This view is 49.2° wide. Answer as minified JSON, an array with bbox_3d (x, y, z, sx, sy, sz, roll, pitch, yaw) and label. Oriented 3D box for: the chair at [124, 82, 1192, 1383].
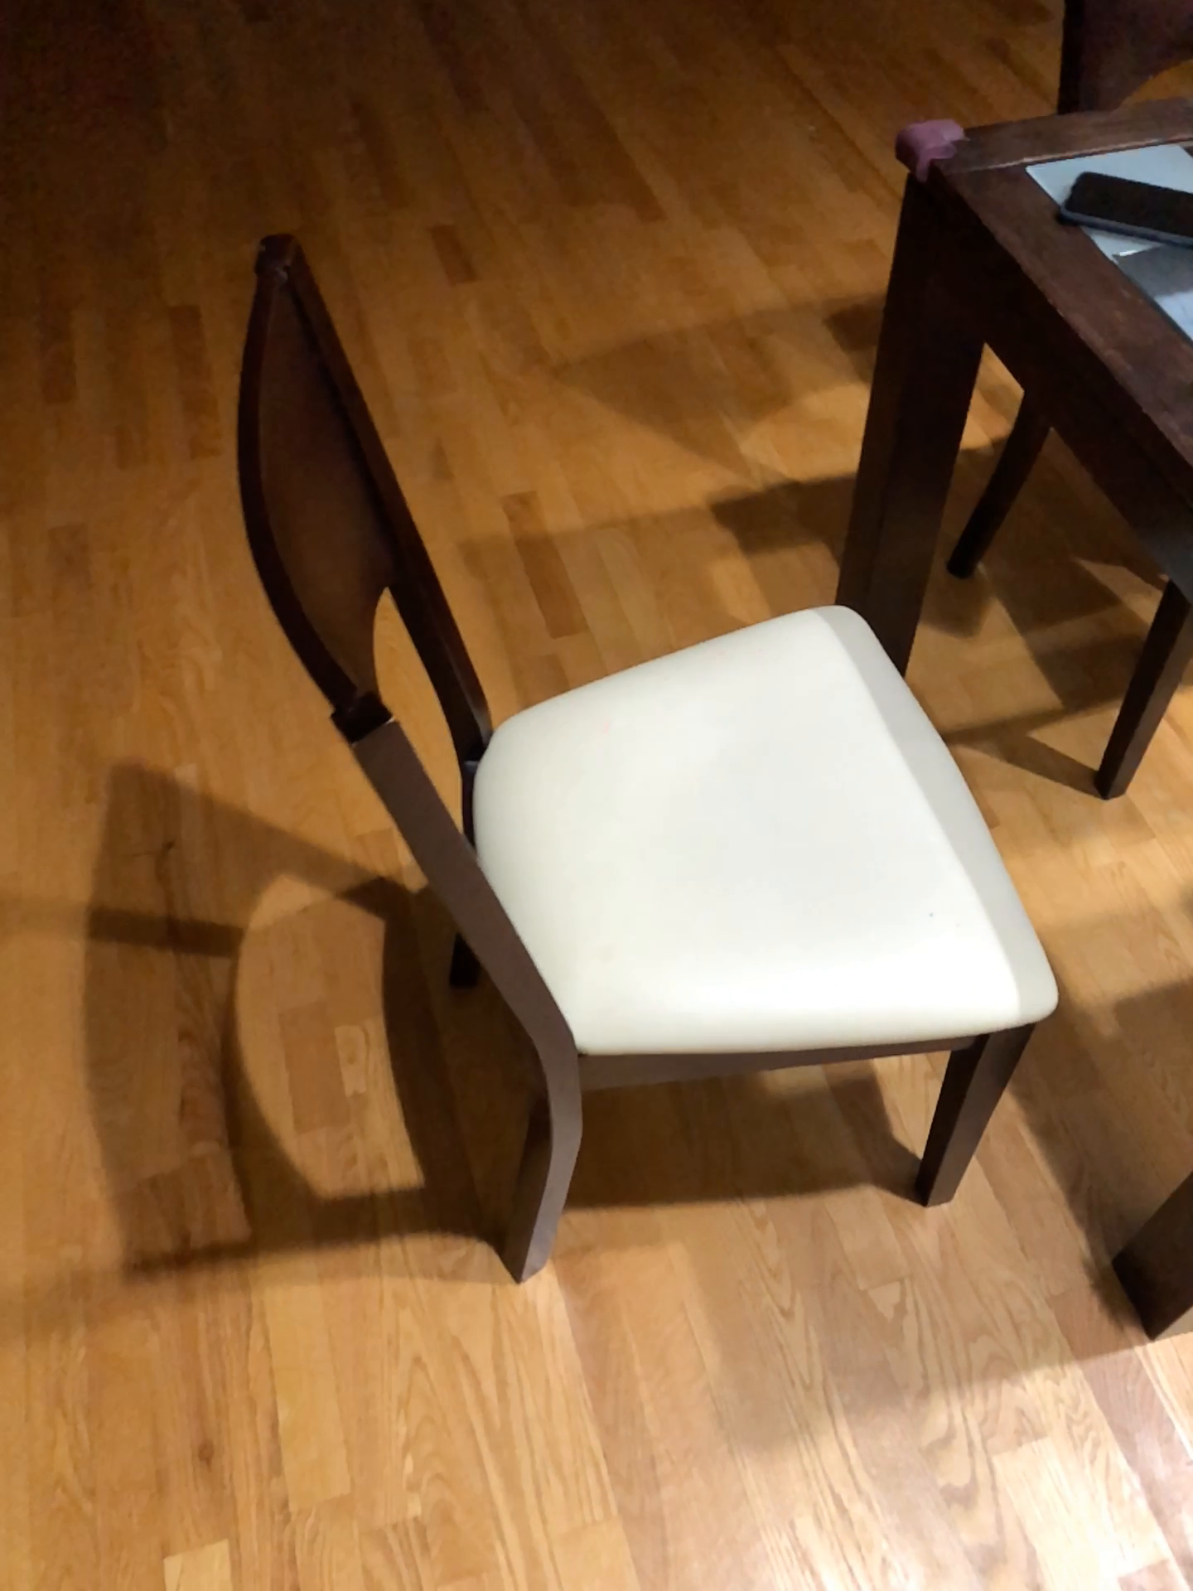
[{"bbox_3d":[0.070,0.034,1.178,0.640,1.006,0.502,-15,53,-11],"label":"chair"}]
